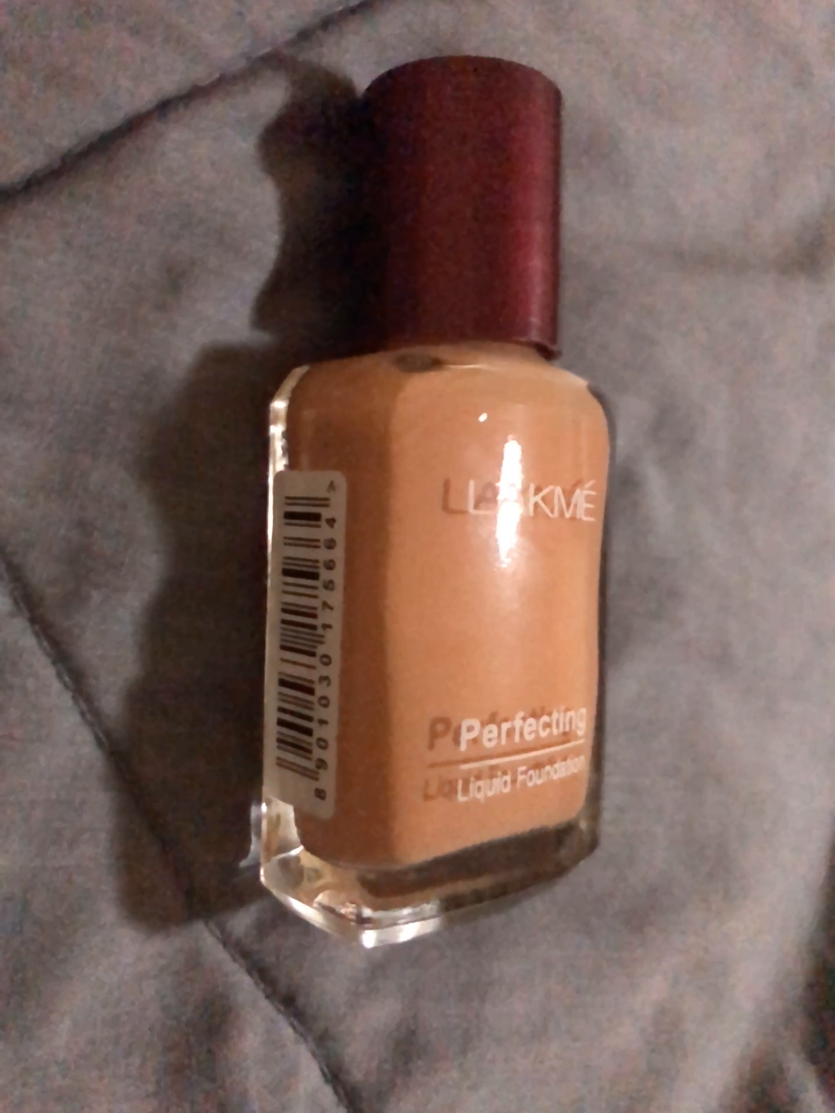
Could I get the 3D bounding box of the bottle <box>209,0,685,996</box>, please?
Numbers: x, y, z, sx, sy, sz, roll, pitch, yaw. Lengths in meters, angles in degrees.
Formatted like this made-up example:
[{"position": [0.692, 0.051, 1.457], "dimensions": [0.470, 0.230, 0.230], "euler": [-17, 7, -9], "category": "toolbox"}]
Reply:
[{"position": [0.006, -0.015, 0.116], "dimensions": [0.050, 0.030, 0.110], "euler": [0, 90, -47], "category": "bottle"}]
